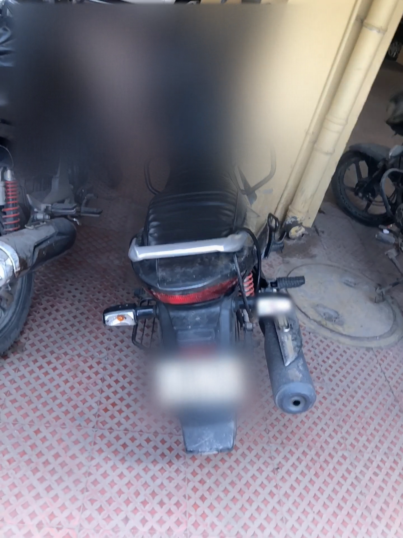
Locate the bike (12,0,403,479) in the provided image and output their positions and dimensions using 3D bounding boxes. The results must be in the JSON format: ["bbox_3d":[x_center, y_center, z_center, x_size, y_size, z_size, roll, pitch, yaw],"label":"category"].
[{"bbox_3d":[-0.144,-0.385,1.691,0.731,1.125,1.769,6,36,-13],"label":"bike"}]
